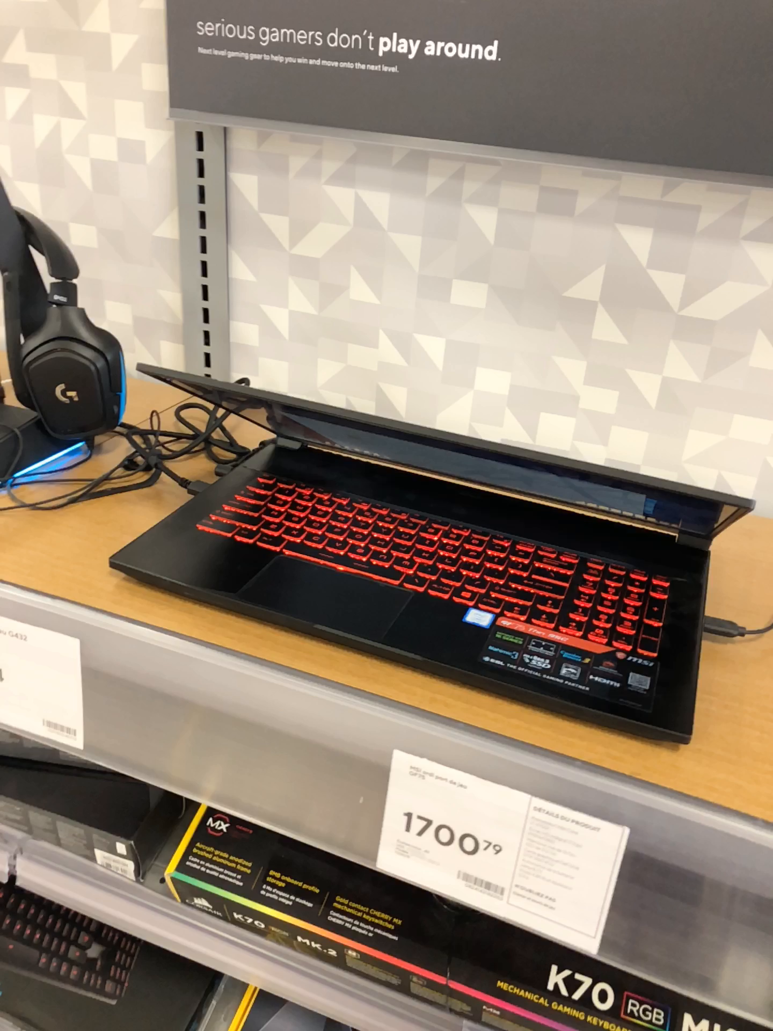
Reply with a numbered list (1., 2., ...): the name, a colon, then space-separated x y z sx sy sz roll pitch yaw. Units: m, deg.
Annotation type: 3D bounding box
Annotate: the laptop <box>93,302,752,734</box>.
1. laptop: 0.038 -0.031 0.611 0.393 0.133 0.249 14 29 17
